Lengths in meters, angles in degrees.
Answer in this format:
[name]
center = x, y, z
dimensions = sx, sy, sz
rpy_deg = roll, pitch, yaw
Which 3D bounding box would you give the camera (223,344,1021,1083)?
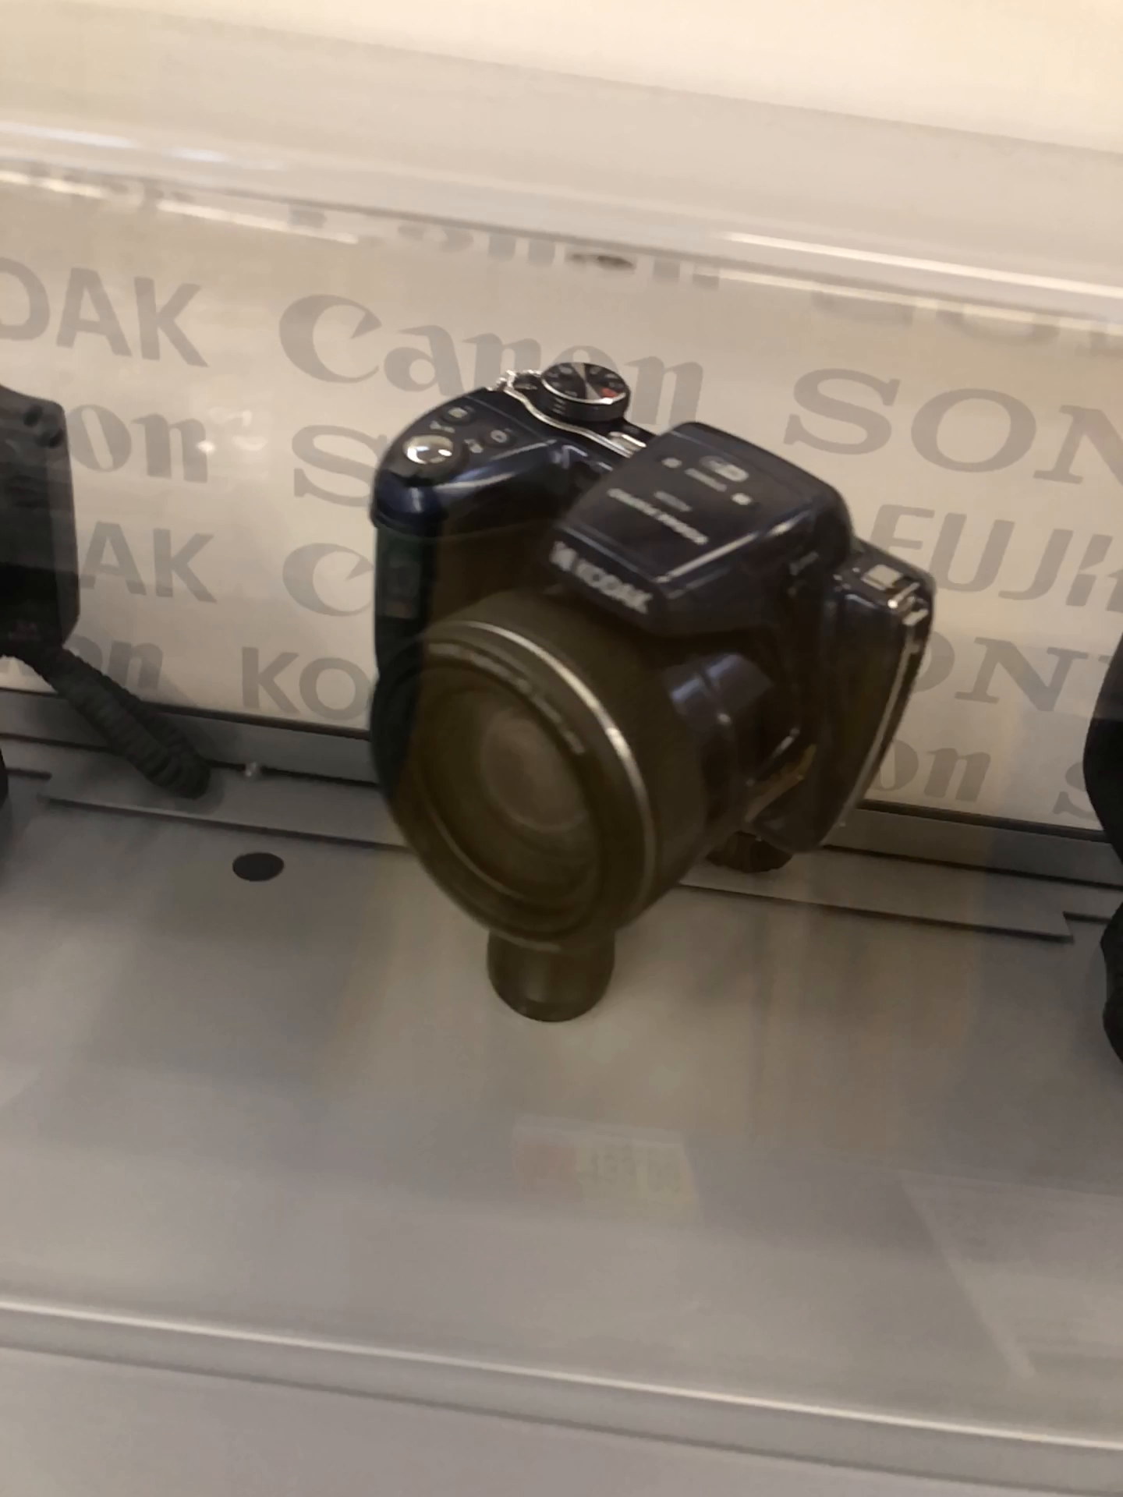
[camera]
center = 0.010, -0.021, 0.272
dimensions = 0.120, 0.090, 0.110
rpy_deg = 28, 37, 28
